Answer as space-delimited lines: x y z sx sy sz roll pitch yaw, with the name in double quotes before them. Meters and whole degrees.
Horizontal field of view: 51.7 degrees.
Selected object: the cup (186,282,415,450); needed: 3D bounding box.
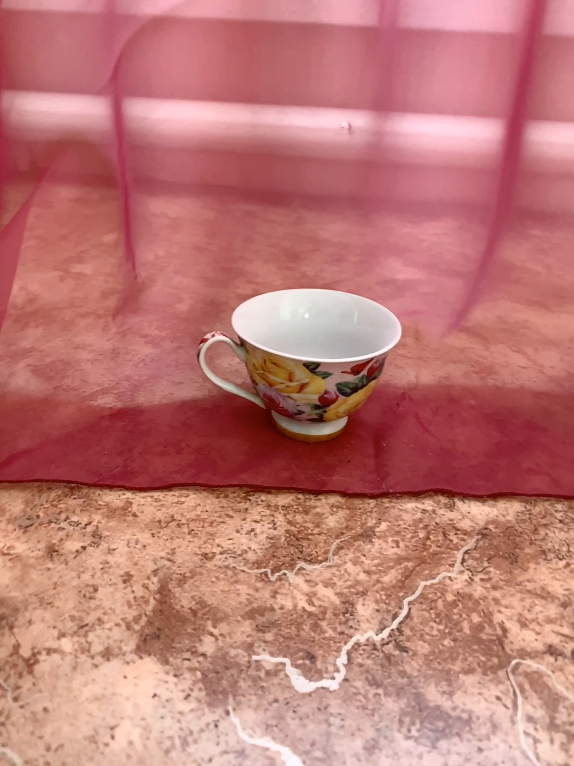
"cup" 0.003 -0.012 0.329 0.109 0.060 0.079 0 31 -6
